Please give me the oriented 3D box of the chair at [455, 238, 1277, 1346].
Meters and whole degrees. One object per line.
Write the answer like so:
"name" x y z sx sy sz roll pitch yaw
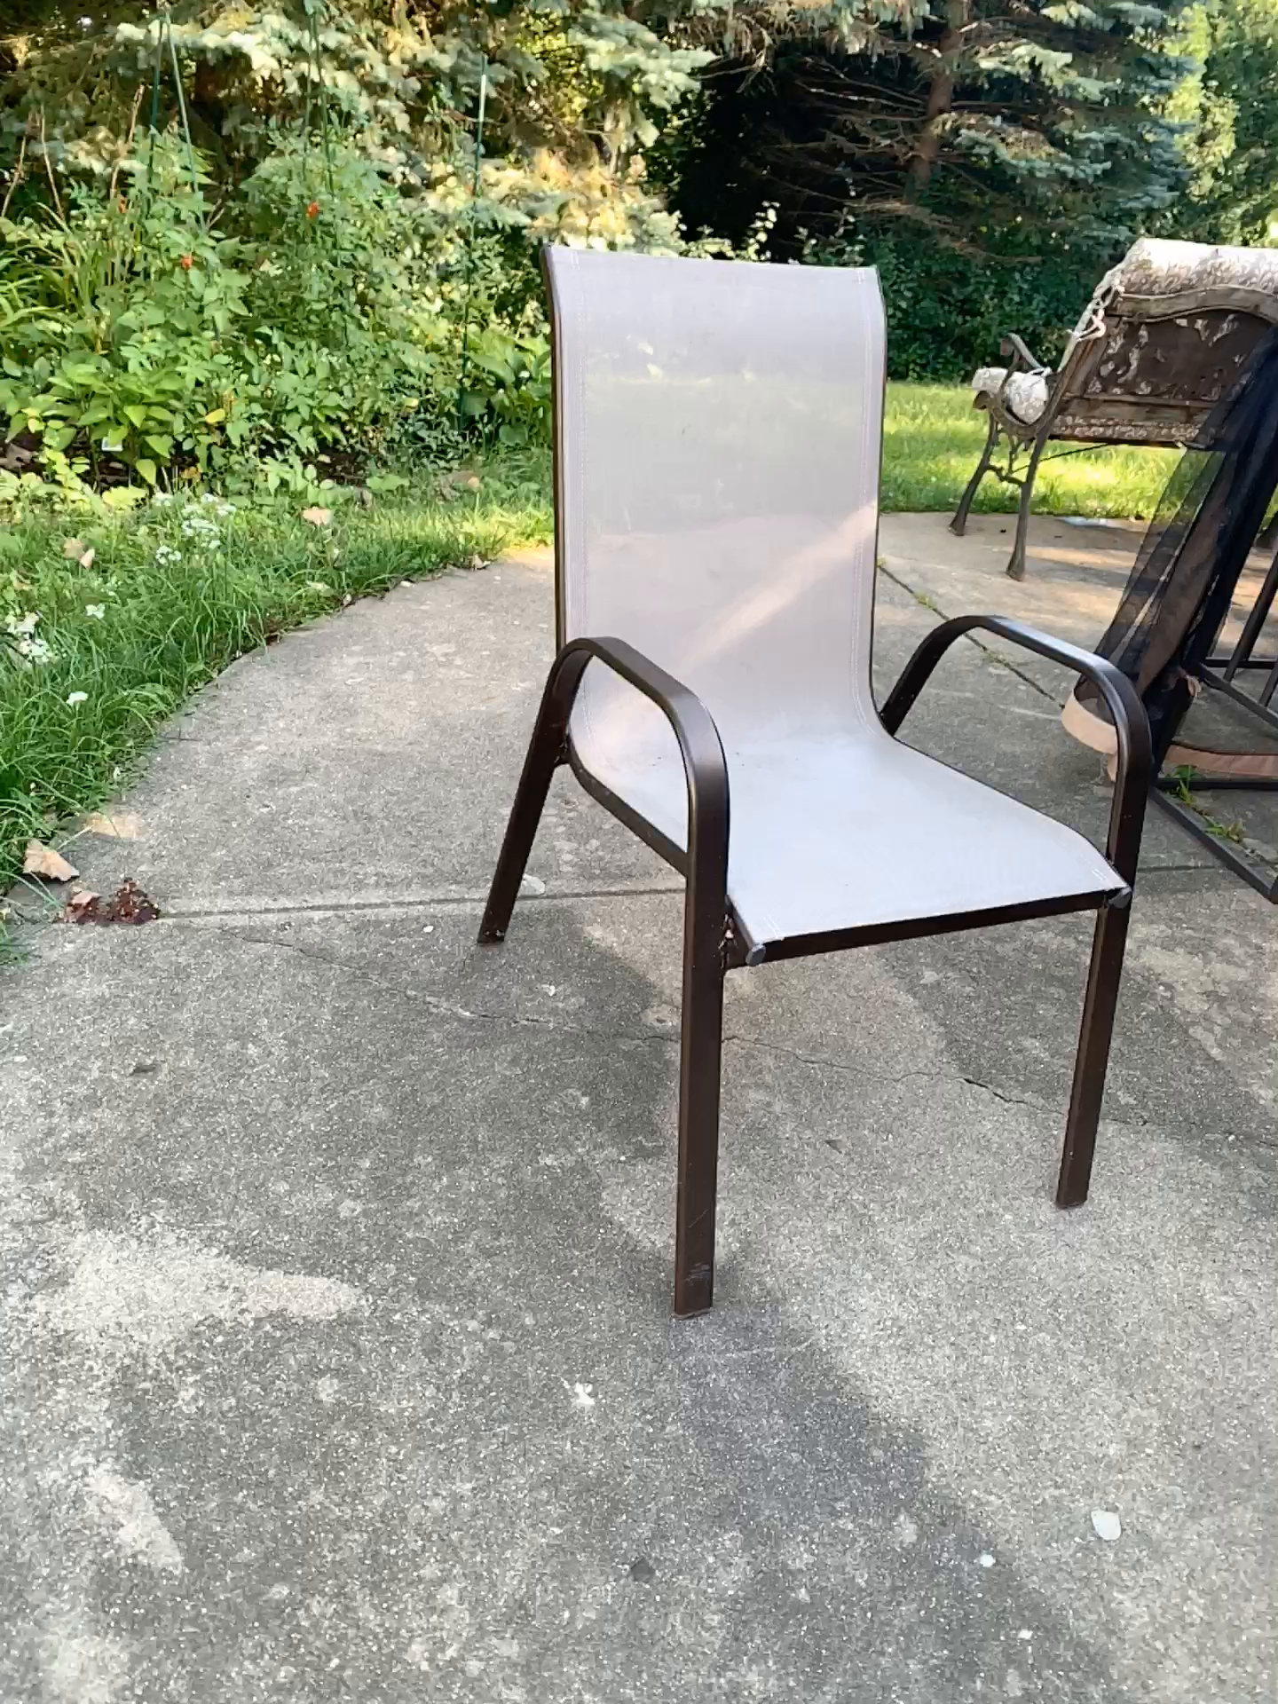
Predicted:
"chair" 0.202 -0.122 1.401 0.570 0.845 0.744 -7 33 -23
